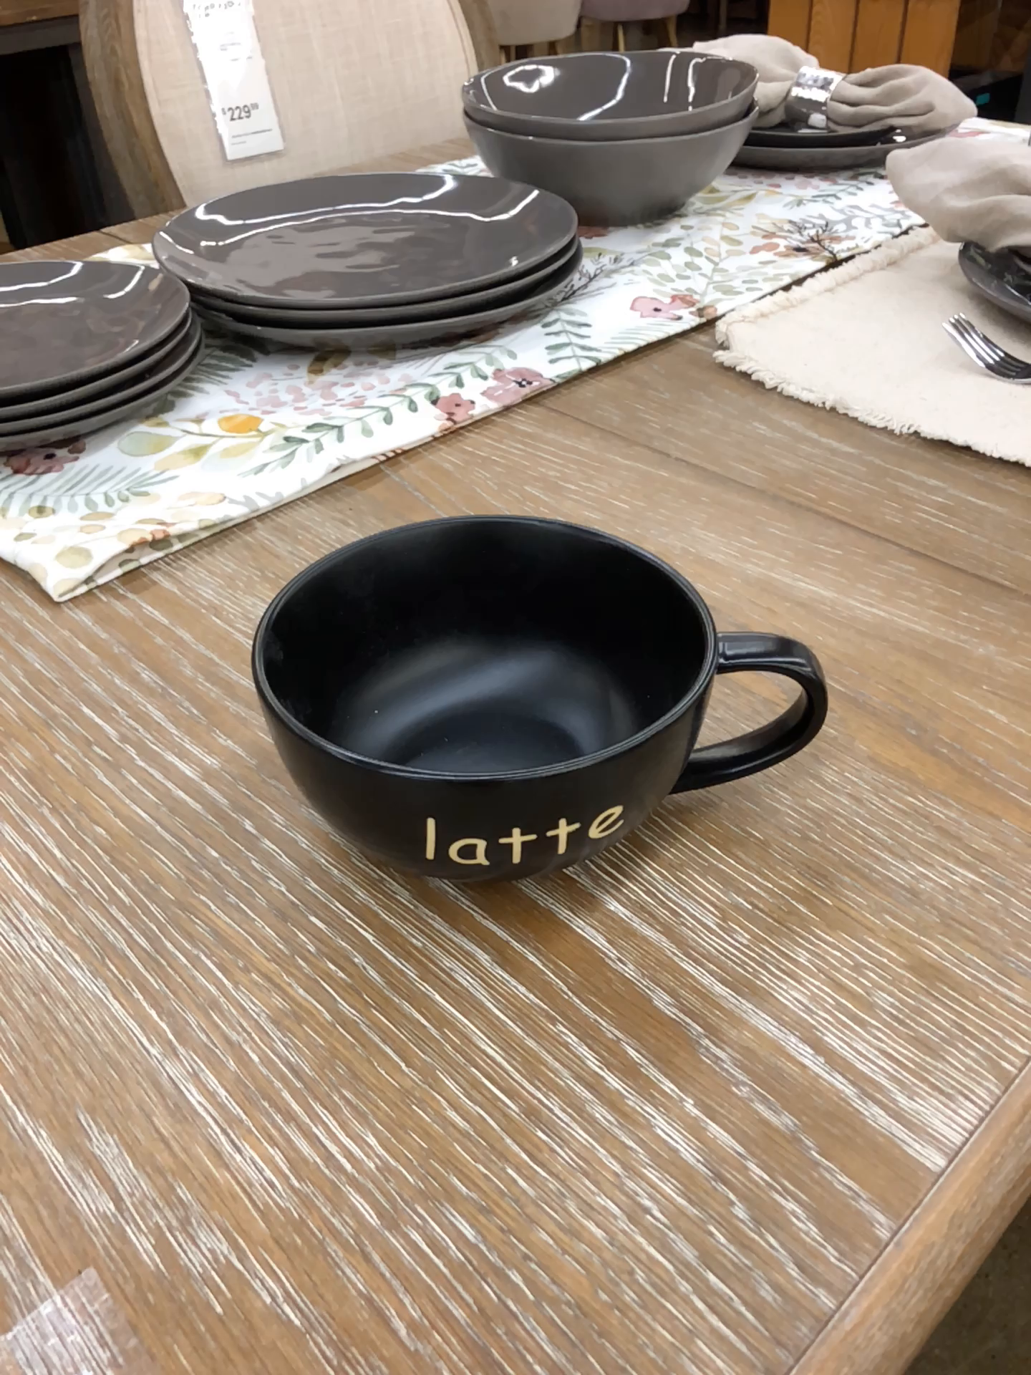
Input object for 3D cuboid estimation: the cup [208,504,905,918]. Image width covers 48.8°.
[{"bbox_3d":[0.012,0.001,0.356,0.174,0.054,0.138,-1,37,3],"label":"cup"}]
